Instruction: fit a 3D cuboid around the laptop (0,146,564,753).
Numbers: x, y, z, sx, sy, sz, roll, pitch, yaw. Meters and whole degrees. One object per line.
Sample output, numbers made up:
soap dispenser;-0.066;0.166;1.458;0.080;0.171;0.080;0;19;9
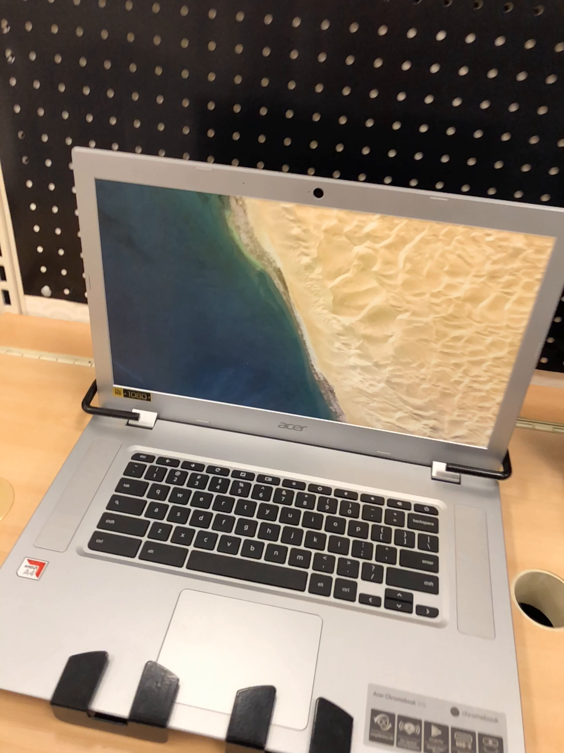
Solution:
laptop;-0.002;0.035;0.428;0.371;0.246;0.287;9;36;7
